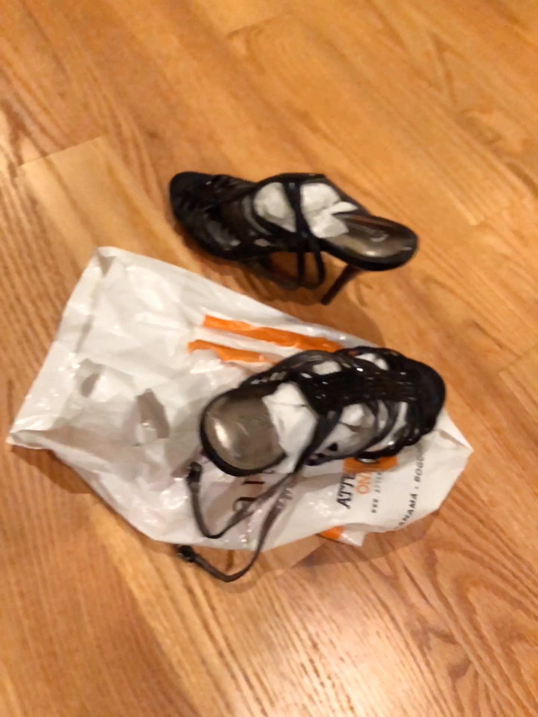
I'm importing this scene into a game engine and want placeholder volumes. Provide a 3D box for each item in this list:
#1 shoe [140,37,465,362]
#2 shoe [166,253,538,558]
[{"bbox_3d":[0.015,-0.117,0.460,0.217,0.113,0.090,39,66,7],"label":"shoe"},{"bbox_3d":[0.051,0.032,0.401,0.218,0.113,0.092,-24,73,-19],"label":"shoe"}]
